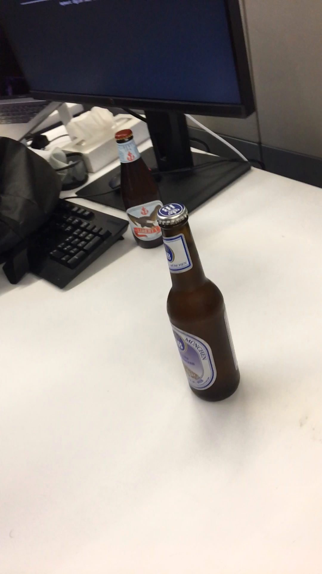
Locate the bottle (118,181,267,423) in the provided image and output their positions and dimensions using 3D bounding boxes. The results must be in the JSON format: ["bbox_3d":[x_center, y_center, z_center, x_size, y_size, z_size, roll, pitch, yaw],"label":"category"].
[{"bbox_3d":[0.039,0.022,0.494,0.080,0.230,0.080,-11,36,8],"label":"bottle"}]
